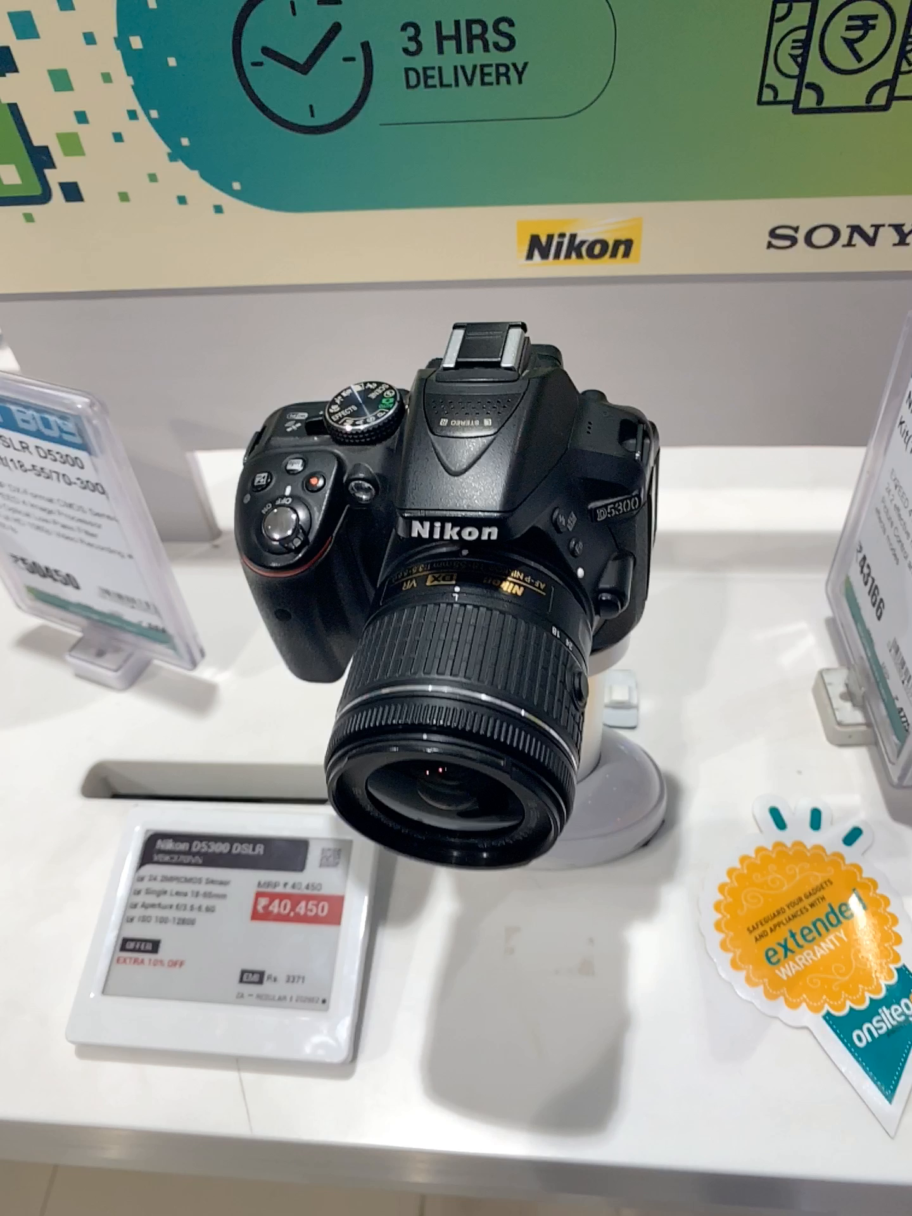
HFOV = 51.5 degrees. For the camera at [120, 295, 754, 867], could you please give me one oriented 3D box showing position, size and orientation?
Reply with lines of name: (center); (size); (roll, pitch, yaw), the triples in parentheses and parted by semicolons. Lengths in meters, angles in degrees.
camera: (0.002, -0.011, 0.246); (0.118, 0.082, 0.123); (1, 47, 6)
